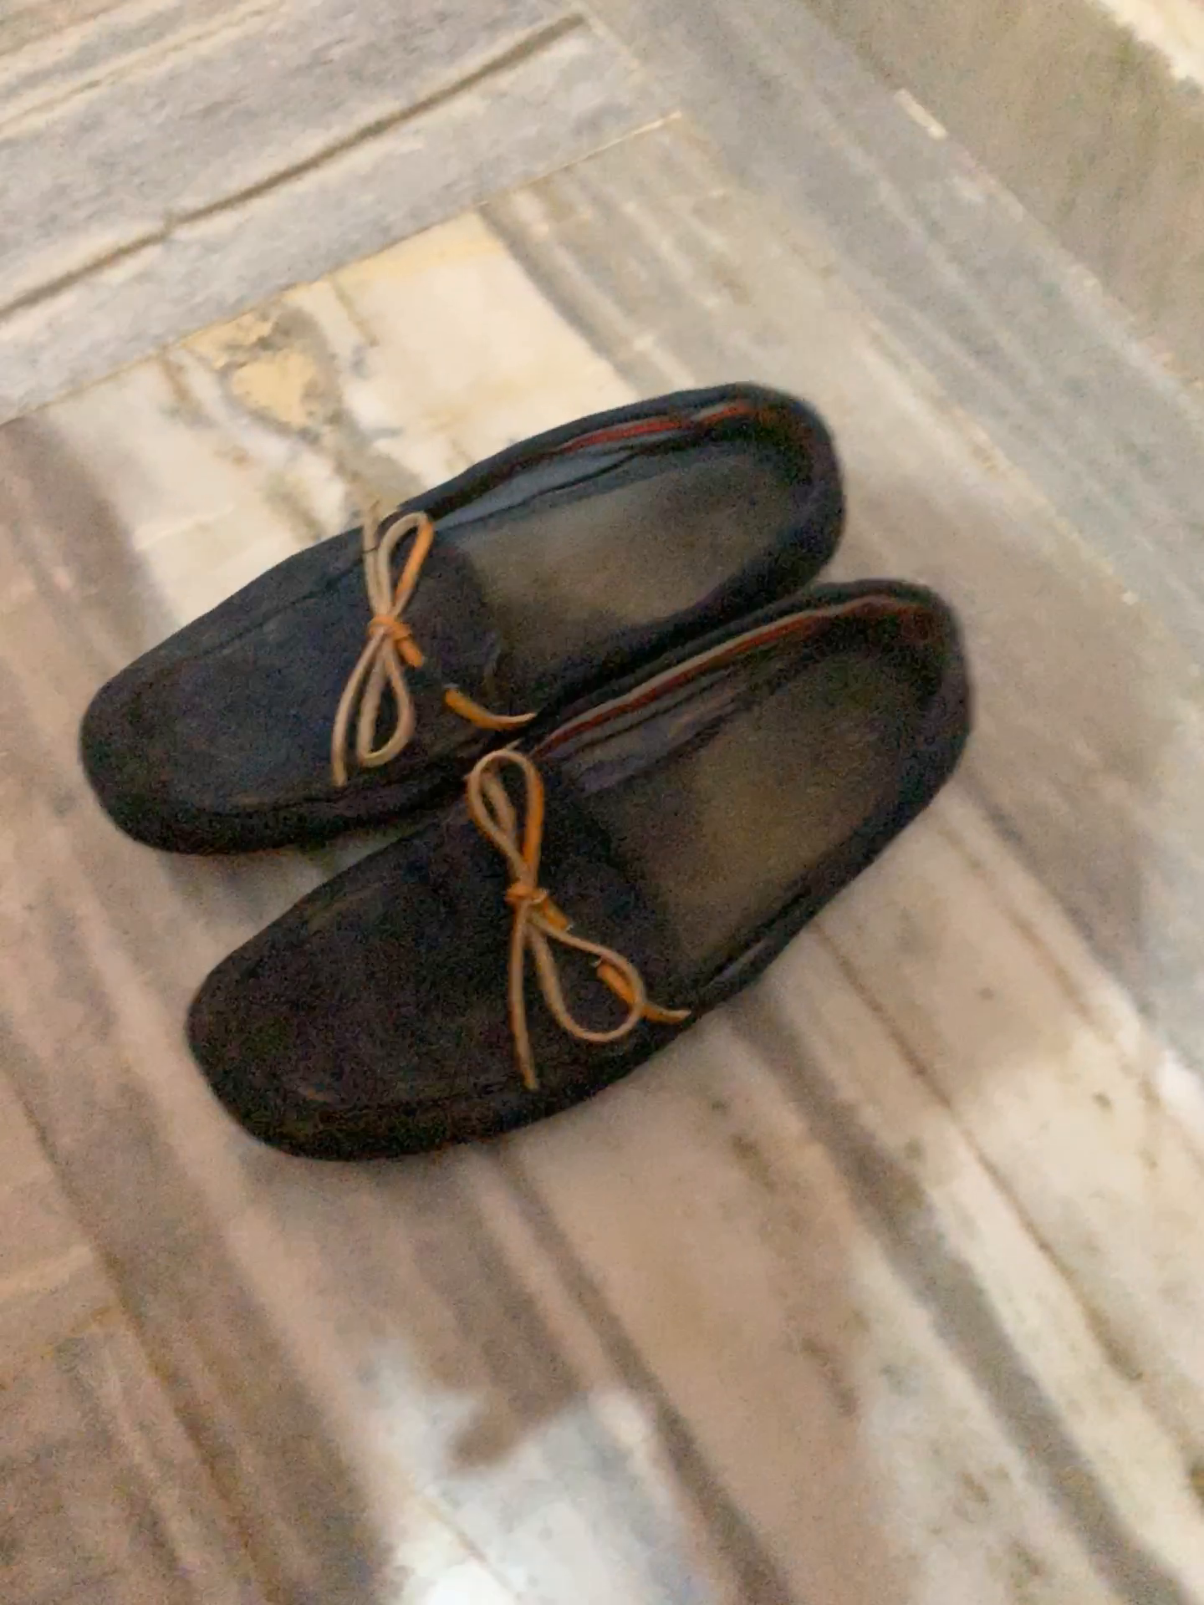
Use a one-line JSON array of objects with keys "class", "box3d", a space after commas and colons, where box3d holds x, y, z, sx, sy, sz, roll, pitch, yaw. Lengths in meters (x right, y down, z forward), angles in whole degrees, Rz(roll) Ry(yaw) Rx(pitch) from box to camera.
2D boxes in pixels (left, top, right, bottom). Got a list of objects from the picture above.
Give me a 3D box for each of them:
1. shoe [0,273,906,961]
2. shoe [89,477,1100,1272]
[{"class": "shoe", "box3d": [-0.050, -0.070, 0.439, 0.280, 0.070, 0.120, -27, 73, -13]}, {"class": "shoe", "box3d": [0.003, 0.018, 0.421, 0.300, 0.070, 0.120, -31, 74, -14]}]
